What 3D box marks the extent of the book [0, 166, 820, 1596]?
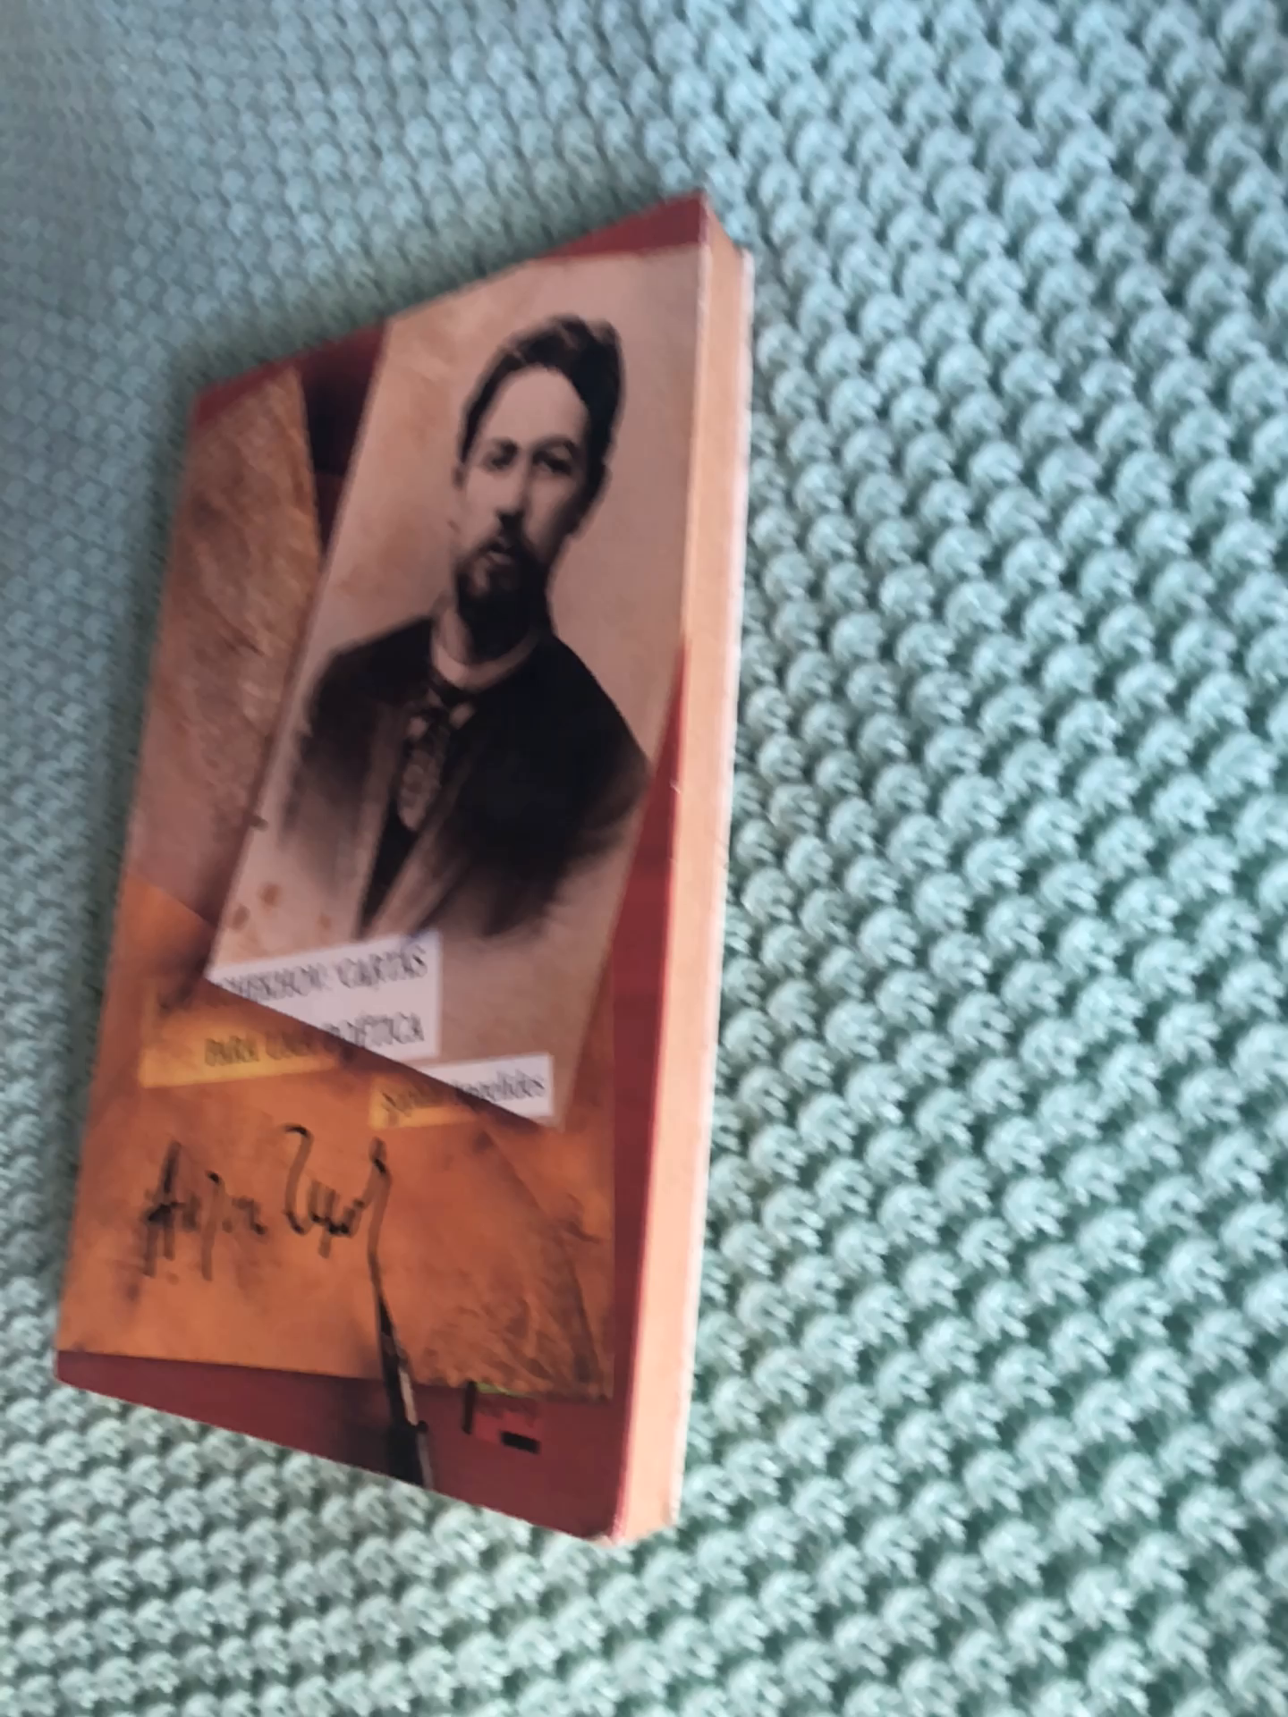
[{"bbox_3d":[-0.047,0.000,0.260,0.150,0.030,0.210,-3,78,31],"label":"book"}]
